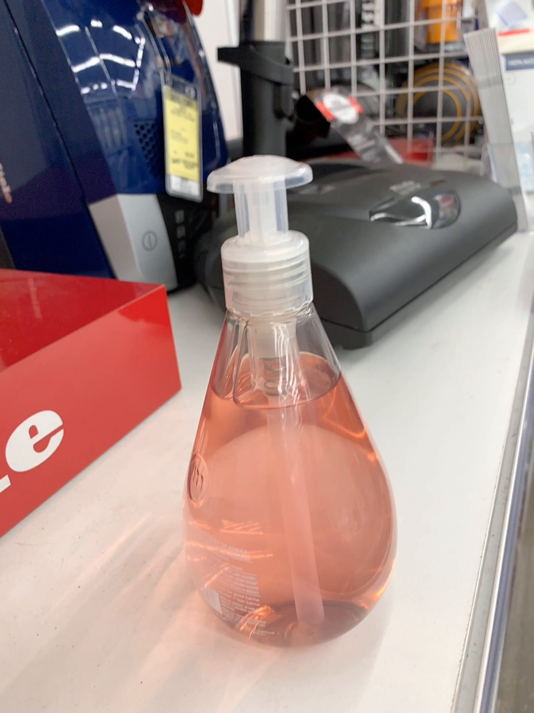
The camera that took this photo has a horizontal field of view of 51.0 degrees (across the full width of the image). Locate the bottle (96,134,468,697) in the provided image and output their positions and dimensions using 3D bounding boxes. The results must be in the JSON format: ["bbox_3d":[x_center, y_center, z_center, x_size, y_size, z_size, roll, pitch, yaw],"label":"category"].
[{"bbox_3d":[0.006,0.014,0.195,0.077,0.160,0.080,-5,25,2],"label":"bottle"}]
